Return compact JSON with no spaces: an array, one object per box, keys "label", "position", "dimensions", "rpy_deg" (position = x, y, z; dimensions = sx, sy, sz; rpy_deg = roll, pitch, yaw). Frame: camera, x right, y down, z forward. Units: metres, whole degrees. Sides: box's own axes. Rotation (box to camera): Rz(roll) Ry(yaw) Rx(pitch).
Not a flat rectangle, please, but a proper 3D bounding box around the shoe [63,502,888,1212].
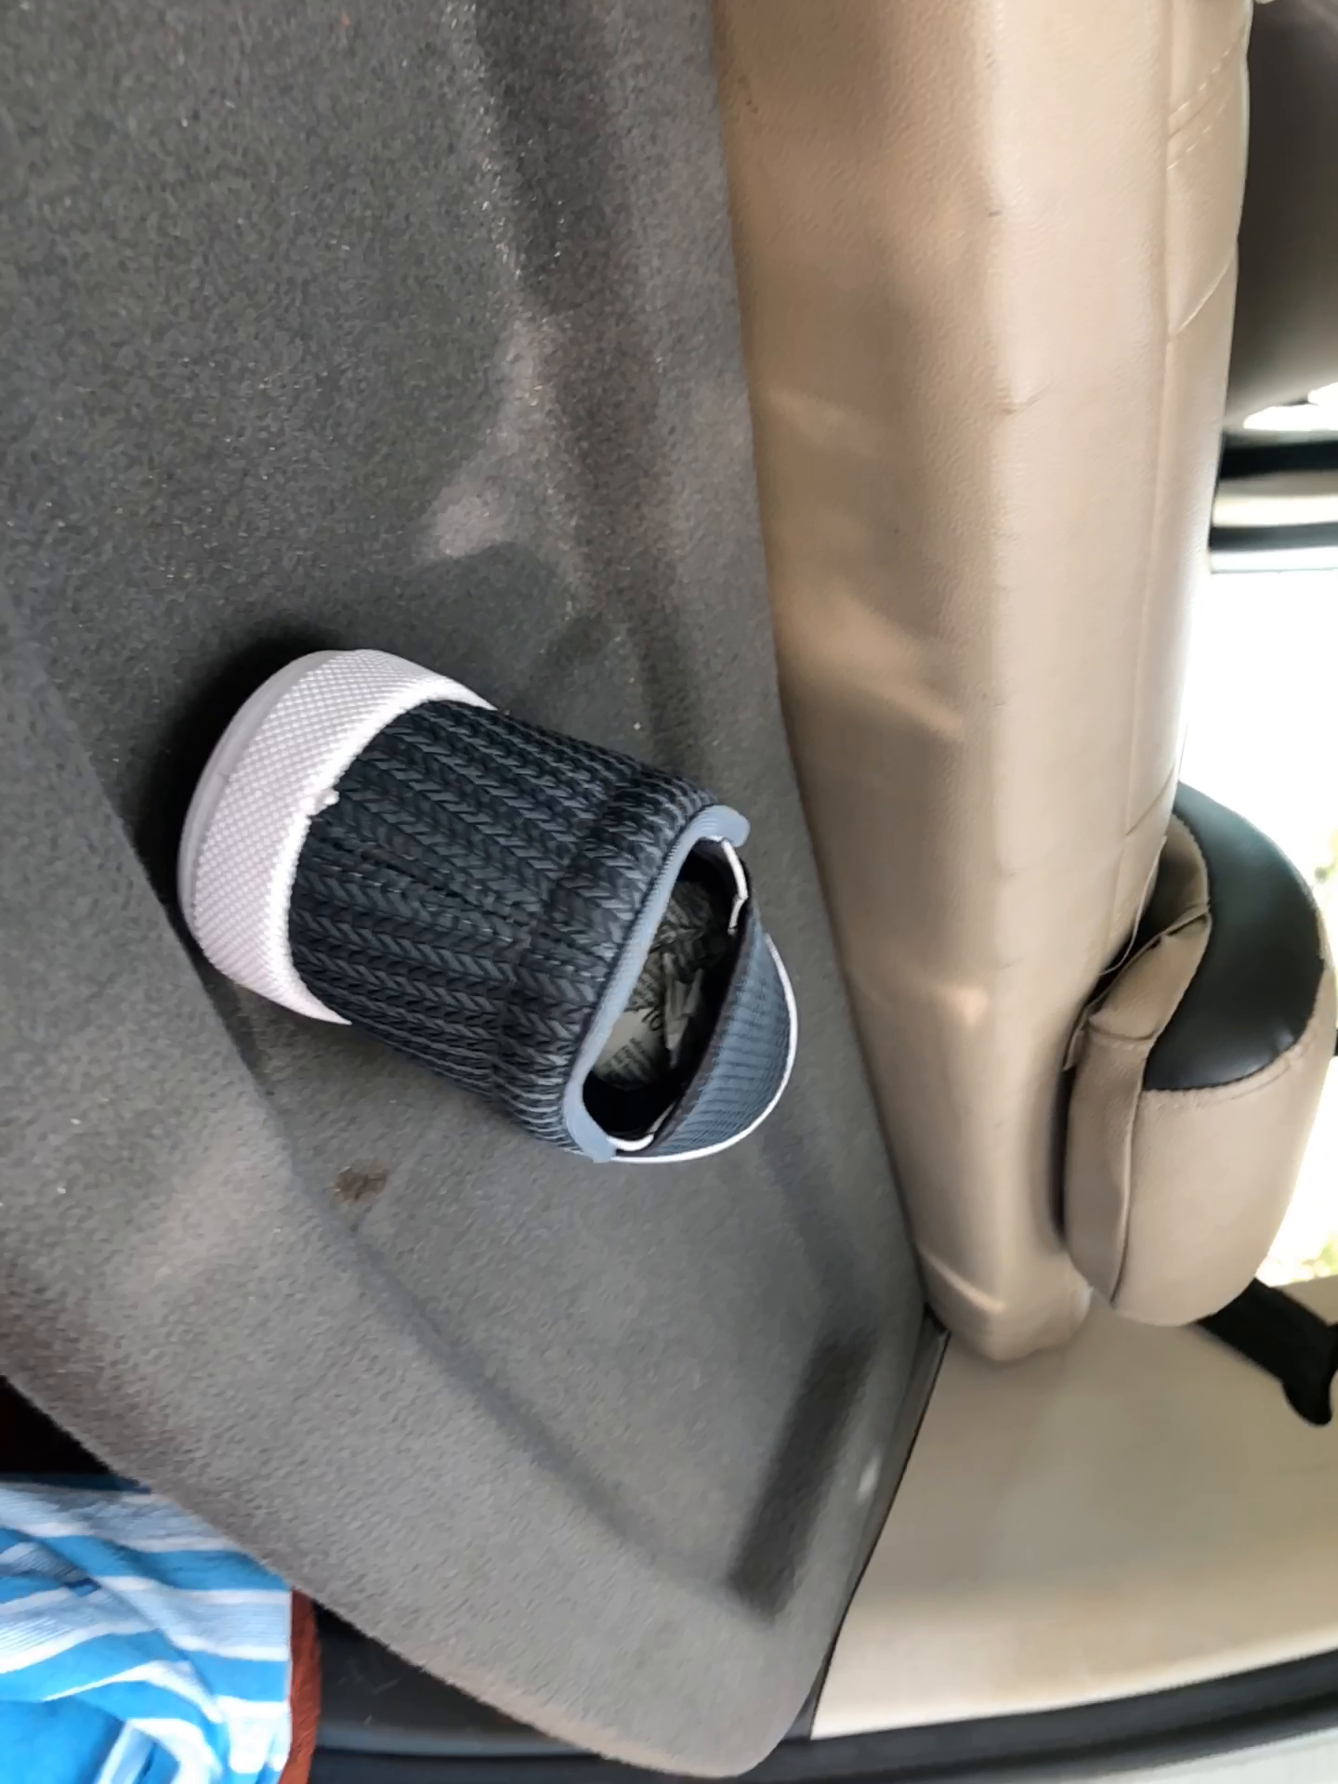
[{"label":"shoe","position":[-0.018,0.015,0.395],"dimensions":[0.282,0.089,0.080],"rpy_deg":[49,56,-64]}]
